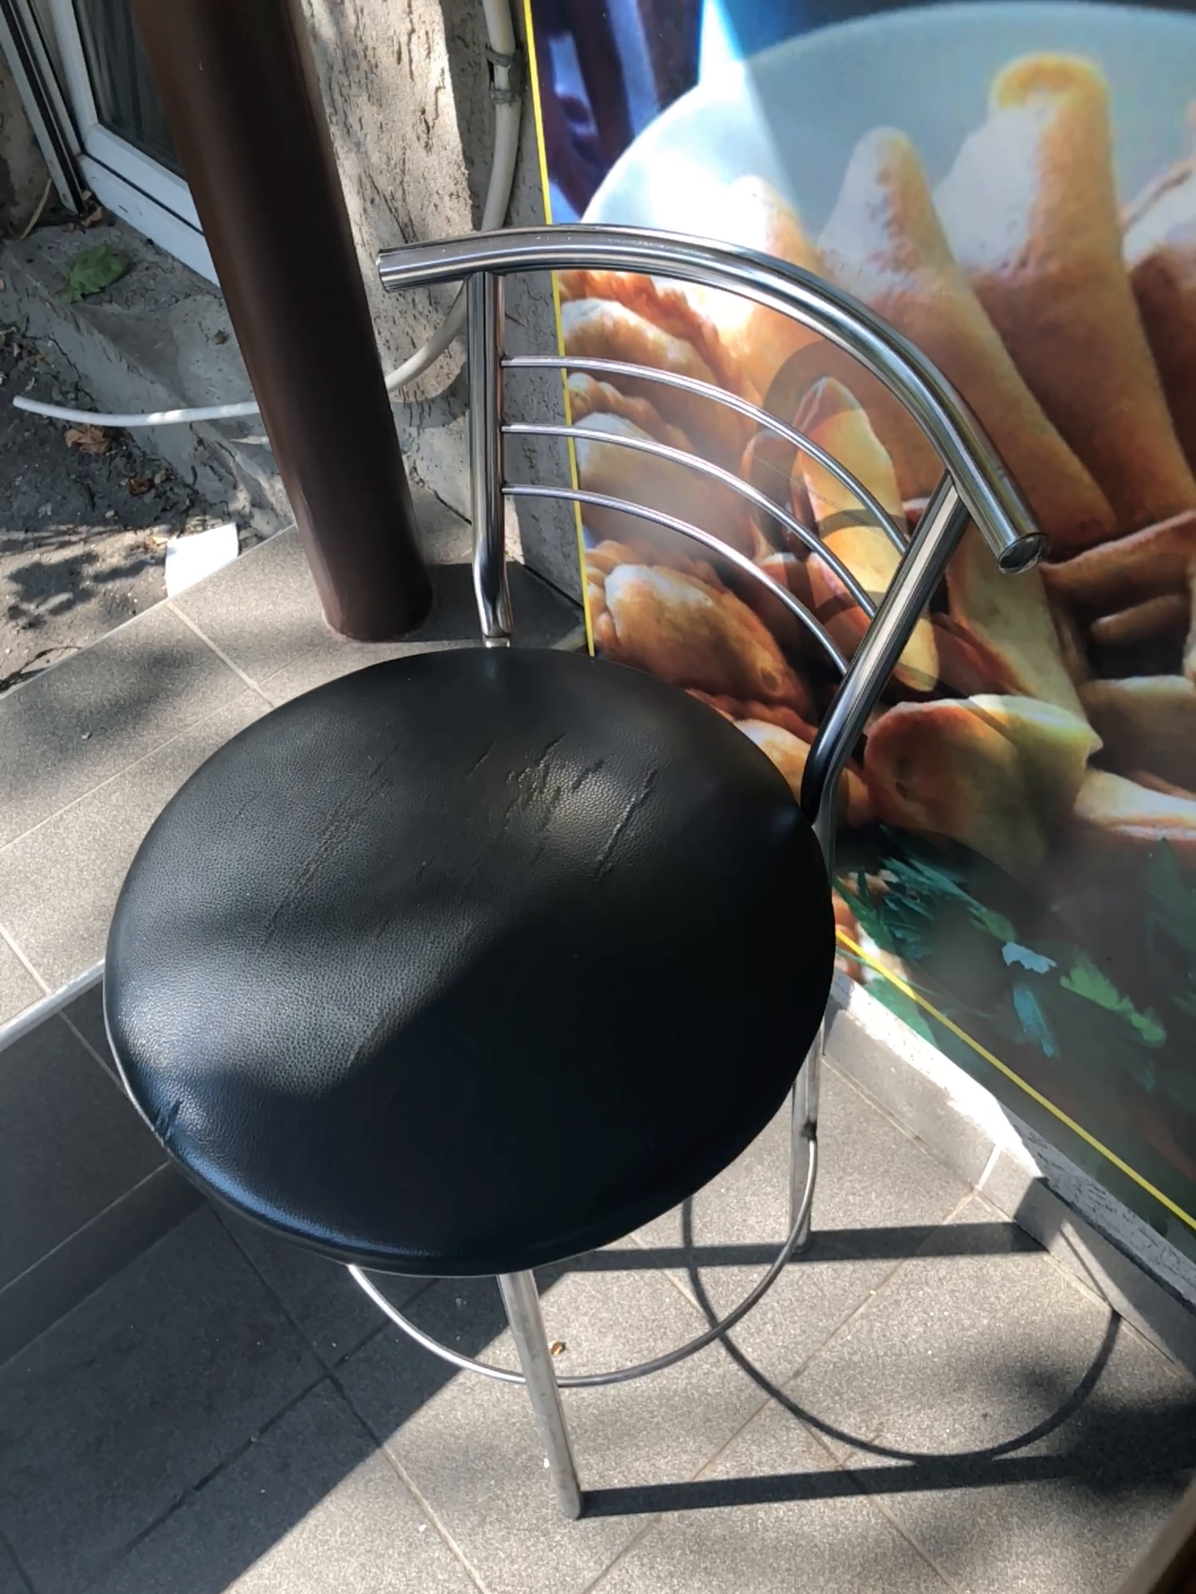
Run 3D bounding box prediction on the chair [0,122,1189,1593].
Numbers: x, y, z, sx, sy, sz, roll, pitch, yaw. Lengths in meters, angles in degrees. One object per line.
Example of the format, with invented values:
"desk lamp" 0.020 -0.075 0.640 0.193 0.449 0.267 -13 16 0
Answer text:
"chair" -0.023 0.177 1.053 0.511 1.097 0.501 26 58 23
